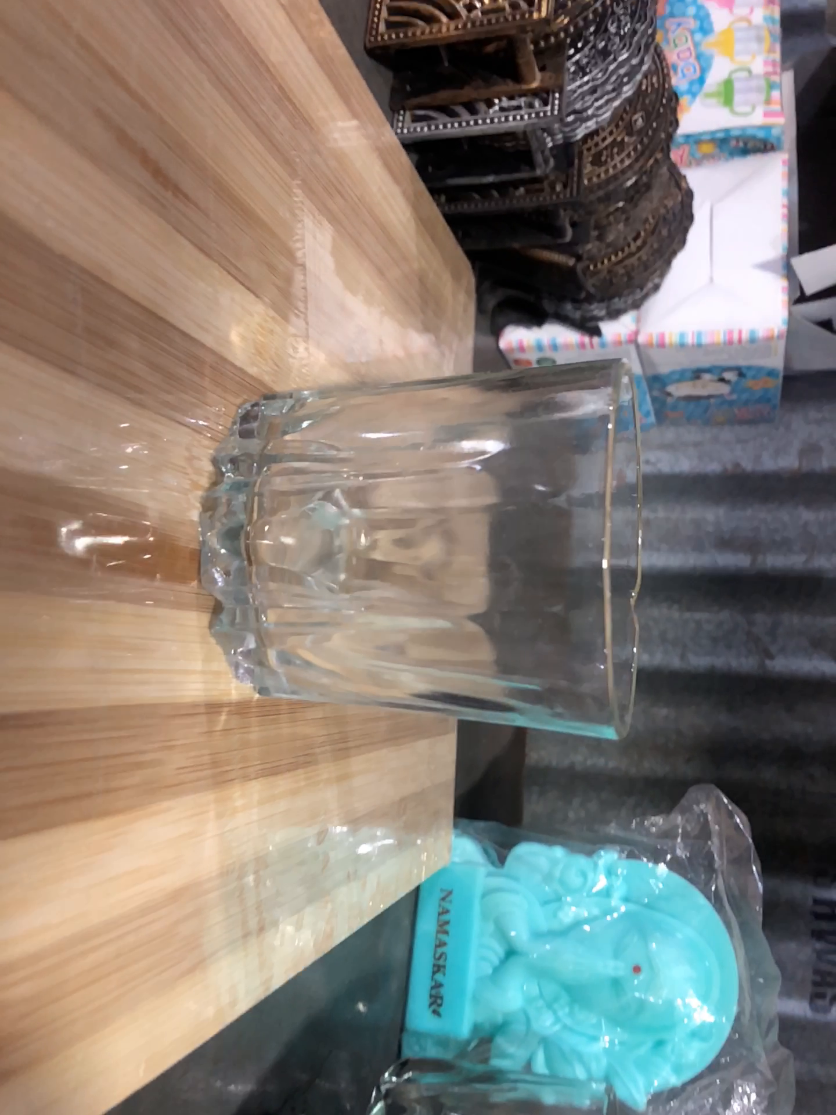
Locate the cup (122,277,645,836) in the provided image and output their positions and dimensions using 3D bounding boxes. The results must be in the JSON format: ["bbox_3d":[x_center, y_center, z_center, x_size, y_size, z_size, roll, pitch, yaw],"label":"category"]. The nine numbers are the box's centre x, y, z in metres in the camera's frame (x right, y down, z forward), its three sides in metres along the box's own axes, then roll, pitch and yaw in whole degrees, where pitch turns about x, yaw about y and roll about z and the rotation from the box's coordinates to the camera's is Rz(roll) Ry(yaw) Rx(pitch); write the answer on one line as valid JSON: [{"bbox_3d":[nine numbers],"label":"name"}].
[{"bbox_3d":[0.005,-0.001,0.199,0.080,0.080,0.080,1,90,-74],"label":"cup"}]
